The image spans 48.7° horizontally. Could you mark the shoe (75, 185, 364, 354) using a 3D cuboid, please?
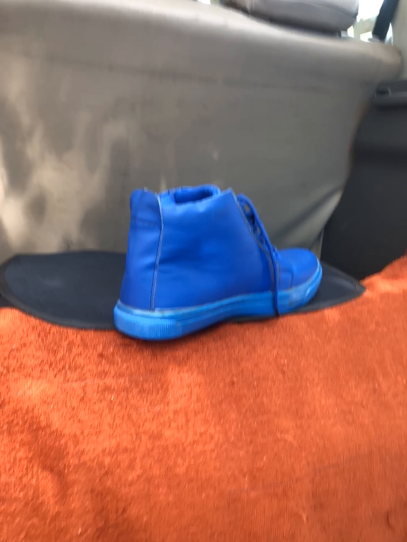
[{"bbox_3d":[0.028,-0.025,0.499,0.301,0.120,0.130,-9,22,-39],"label":"shoe"}]
